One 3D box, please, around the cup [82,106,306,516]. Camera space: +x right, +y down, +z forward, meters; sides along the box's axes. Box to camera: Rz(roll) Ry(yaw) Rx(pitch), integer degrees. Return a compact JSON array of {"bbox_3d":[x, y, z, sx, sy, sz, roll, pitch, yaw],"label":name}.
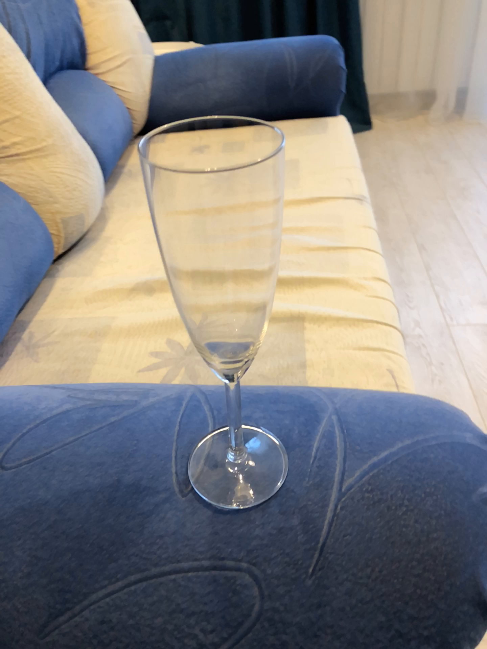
[{"bbox_3d":[-0.008,0.006,0.288,0.076,0.214,0.072,-4,37,3],"label":"cup"}]
